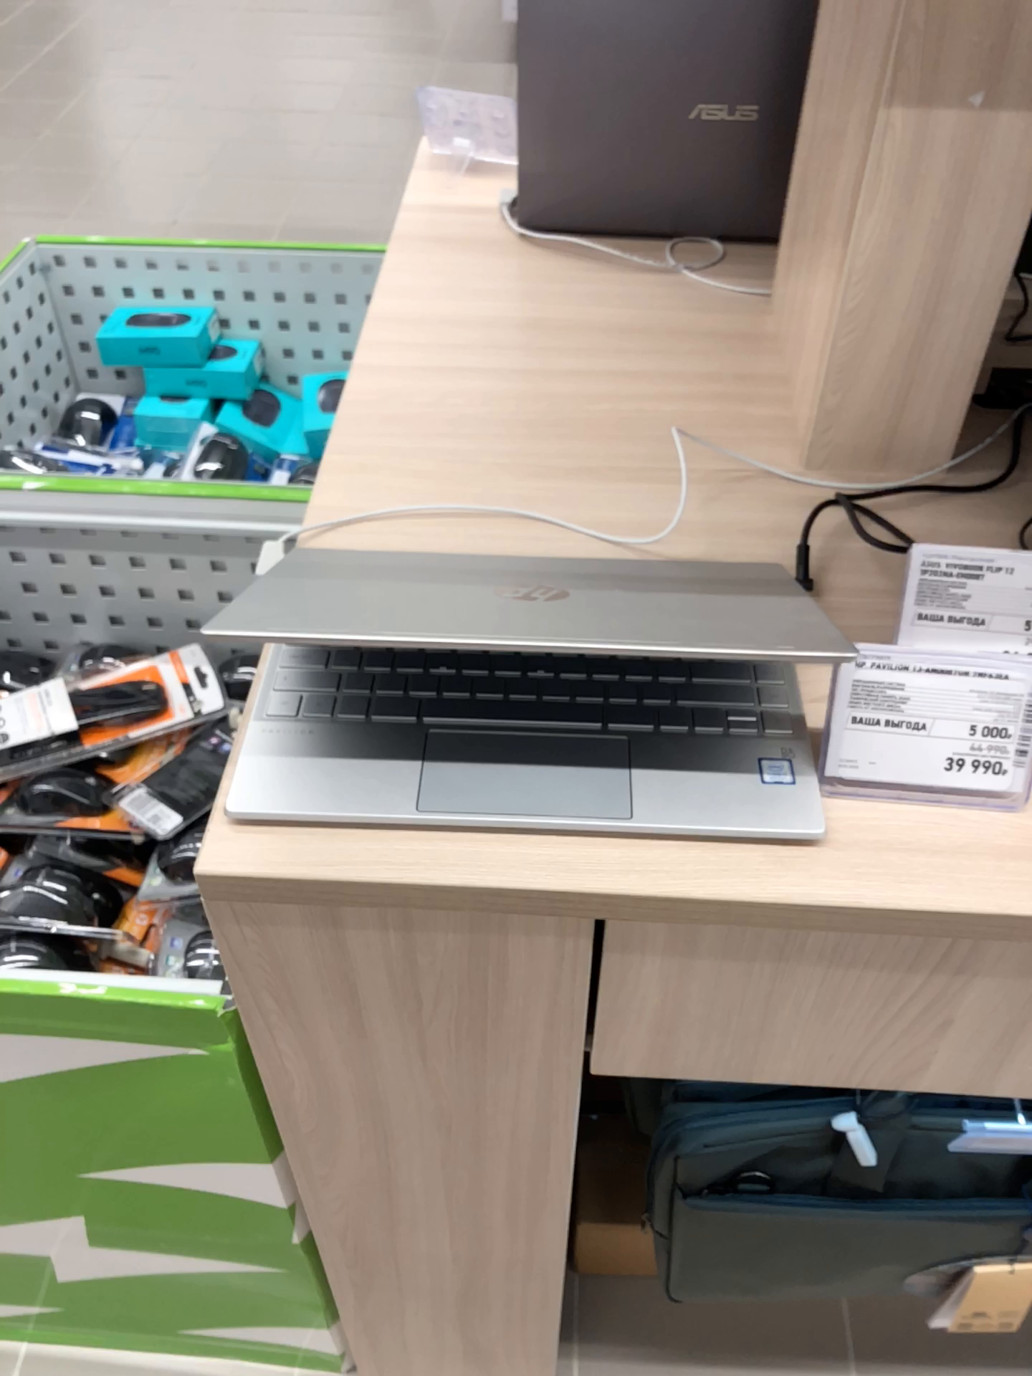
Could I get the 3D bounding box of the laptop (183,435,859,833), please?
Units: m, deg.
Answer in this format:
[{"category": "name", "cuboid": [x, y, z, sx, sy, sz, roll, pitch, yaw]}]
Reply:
[{"category": "laptop", "cuboid": [0.005, -0.038, 0.648, 0.322, 0.095, 0.207, 2, 46, 2]}]
